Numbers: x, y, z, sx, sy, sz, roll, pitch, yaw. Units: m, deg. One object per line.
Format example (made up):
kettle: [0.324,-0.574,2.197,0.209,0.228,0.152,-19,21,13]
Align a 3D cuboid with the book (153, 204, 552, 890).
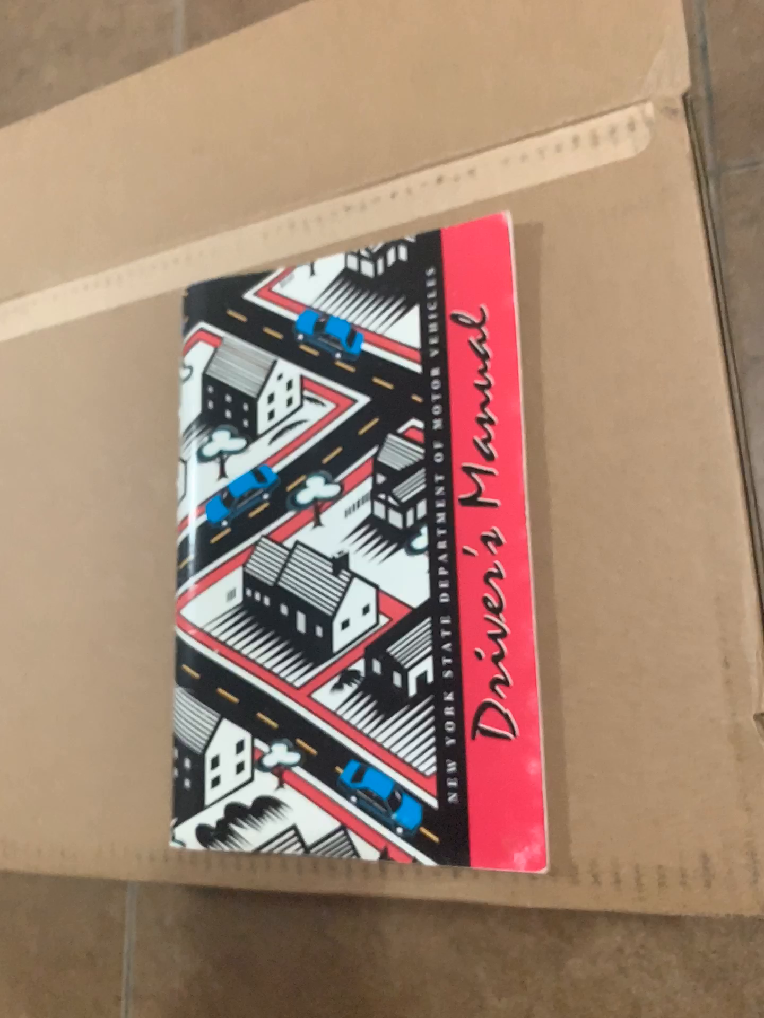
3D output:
book: [-0.017,0.010,0.271,0.134,0.013,0.207,-6,78,23]
